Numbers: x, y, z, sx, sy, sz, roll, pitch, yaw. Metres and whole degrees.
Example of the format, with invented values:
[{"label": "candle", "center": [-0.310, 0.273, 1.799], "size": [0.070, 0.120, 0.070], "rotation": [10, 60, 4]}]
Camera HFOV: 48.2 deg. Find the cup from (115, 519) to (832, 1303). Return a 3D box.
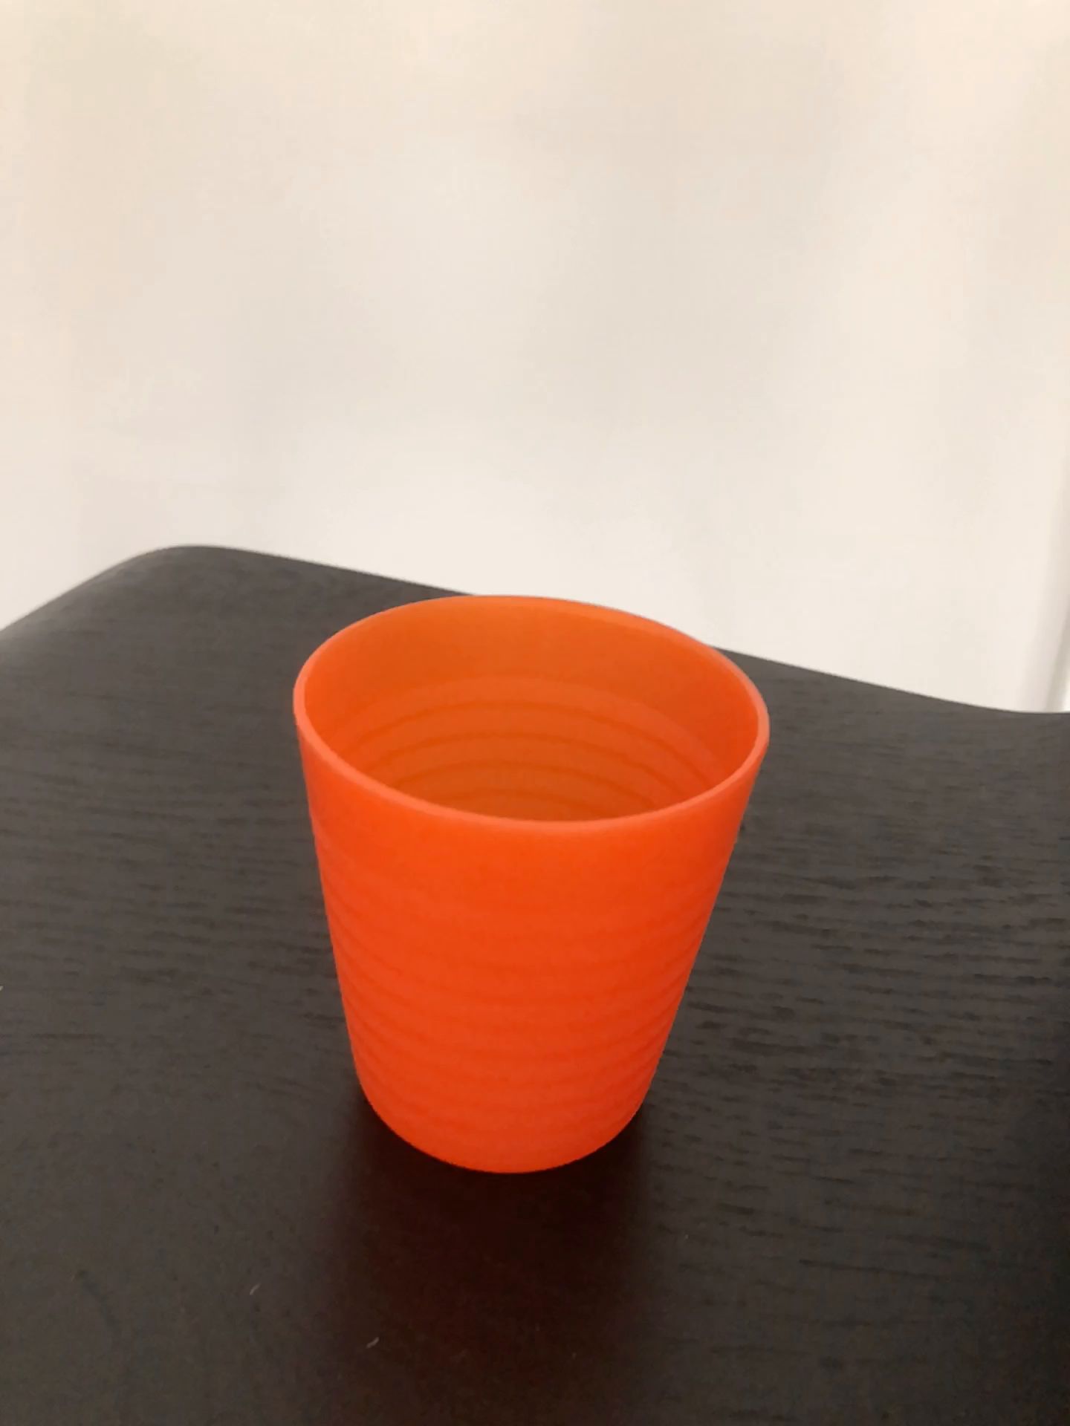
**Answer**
[{"label": "cup", "center": [-0.004, 0.024, 0.200], "size": [0.080, 0.080, 0.080], "rotation": [0, 29, 0]}]
